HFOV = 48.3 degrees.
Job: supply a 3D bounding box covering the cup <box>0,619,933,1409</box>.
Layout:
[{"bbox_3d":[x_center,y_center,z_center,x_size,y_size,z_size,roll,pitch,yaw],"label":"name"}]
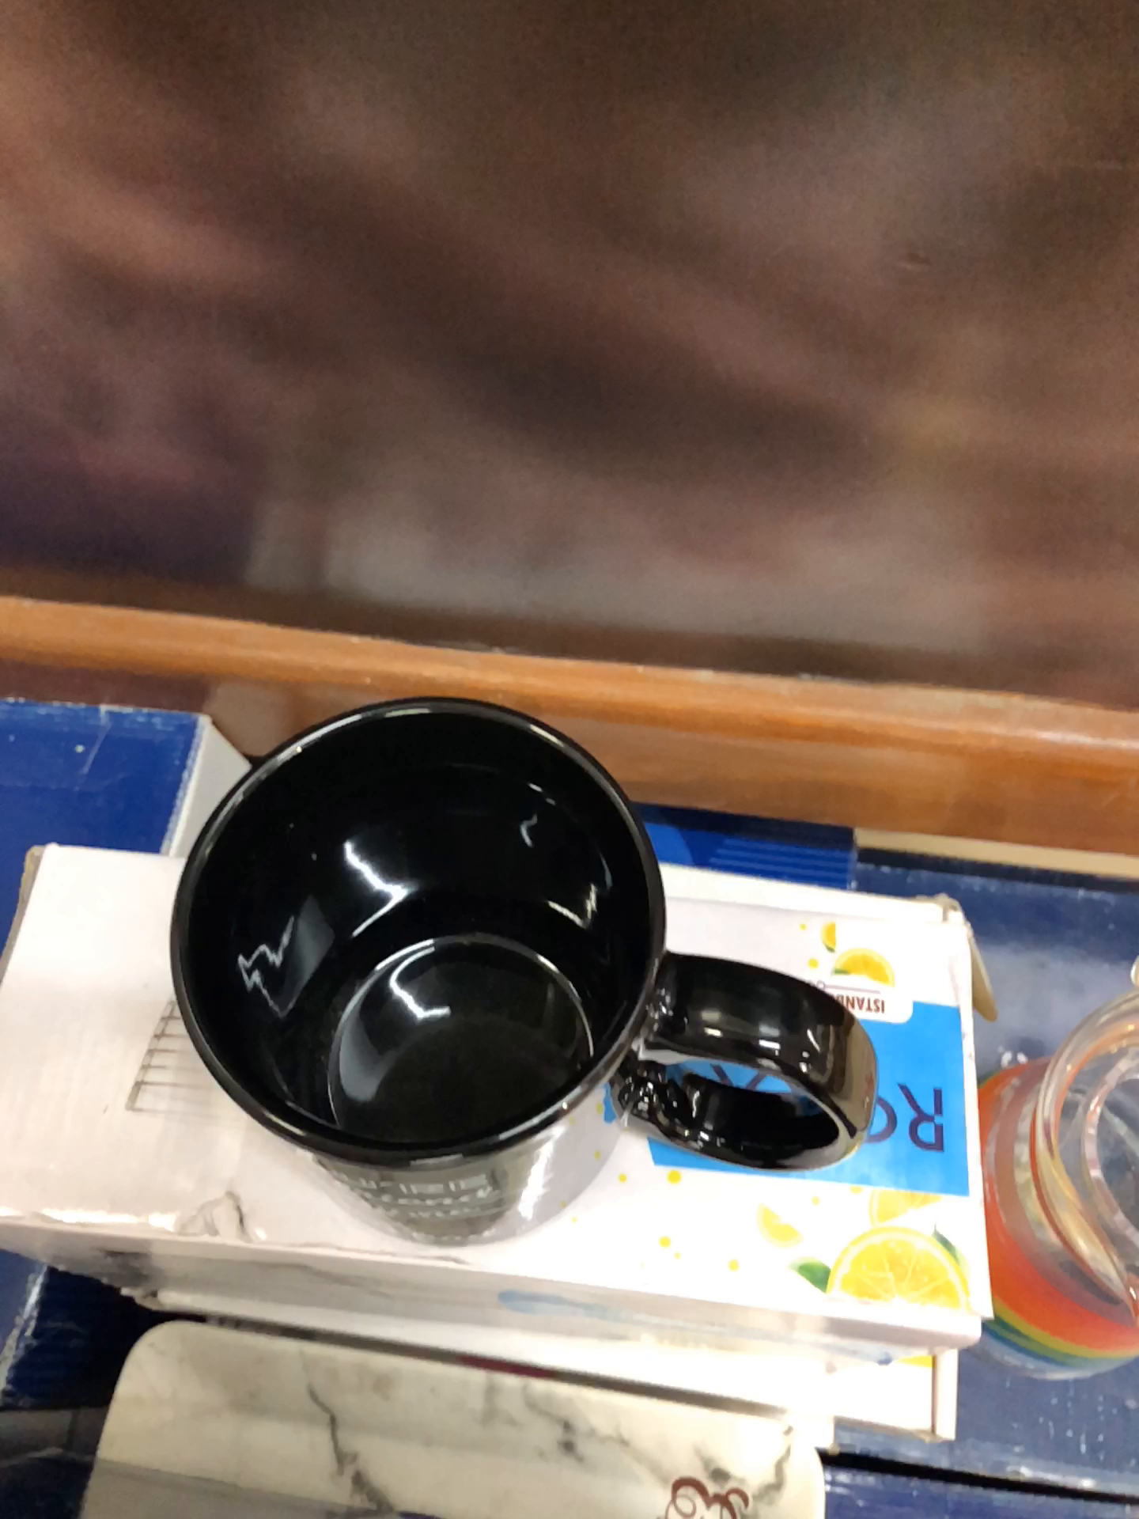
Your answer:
[{"bbox_3d":[-0.013,0.051,0.228,0.130,0.110,0.090,7,60,7],"label":"cup"}]
